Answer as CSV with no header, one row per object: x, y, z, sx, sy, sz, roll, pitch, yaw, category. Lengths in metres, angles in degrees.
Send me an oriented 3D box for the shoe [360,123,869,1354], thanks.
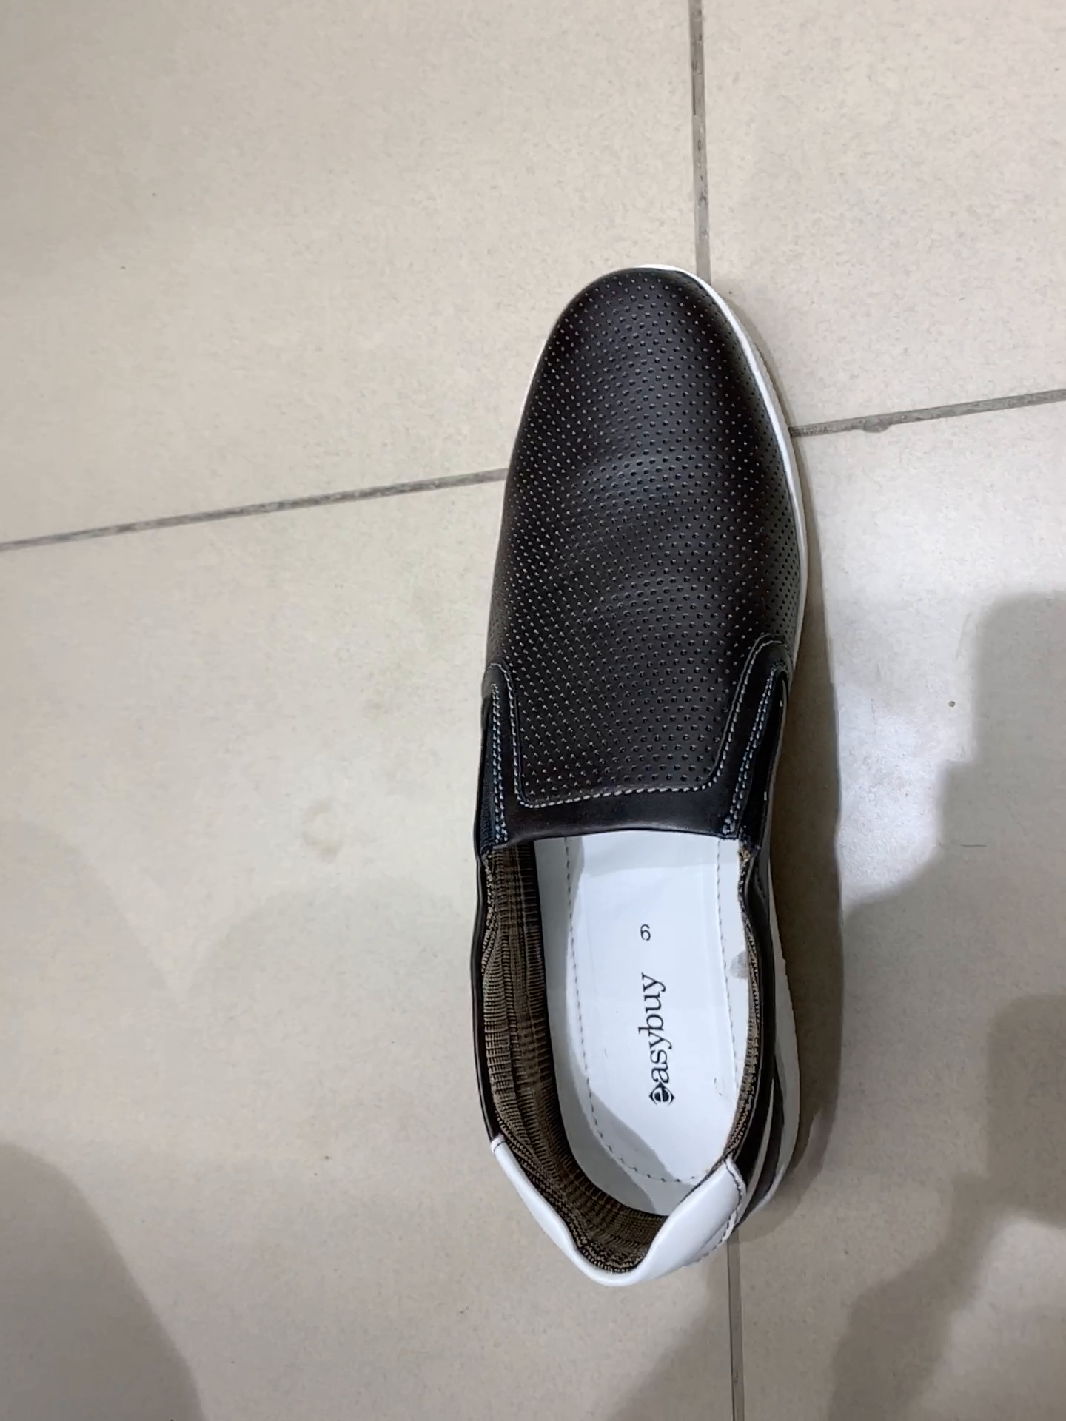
0.026,0.007,0.331,0.110,0.090,0.300,-5,85,25,shoe
